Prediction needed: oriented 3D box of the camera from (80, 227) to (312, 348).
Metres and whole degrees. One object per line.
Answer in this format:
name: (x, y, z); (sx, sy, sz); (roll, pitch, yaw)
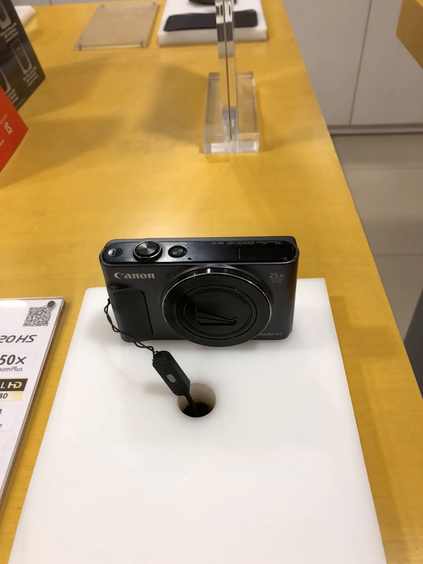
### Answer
camera: (-0.006, 0.005, 0.254); (0.110, 0.060, 0.030); (-1, 45, 3)
